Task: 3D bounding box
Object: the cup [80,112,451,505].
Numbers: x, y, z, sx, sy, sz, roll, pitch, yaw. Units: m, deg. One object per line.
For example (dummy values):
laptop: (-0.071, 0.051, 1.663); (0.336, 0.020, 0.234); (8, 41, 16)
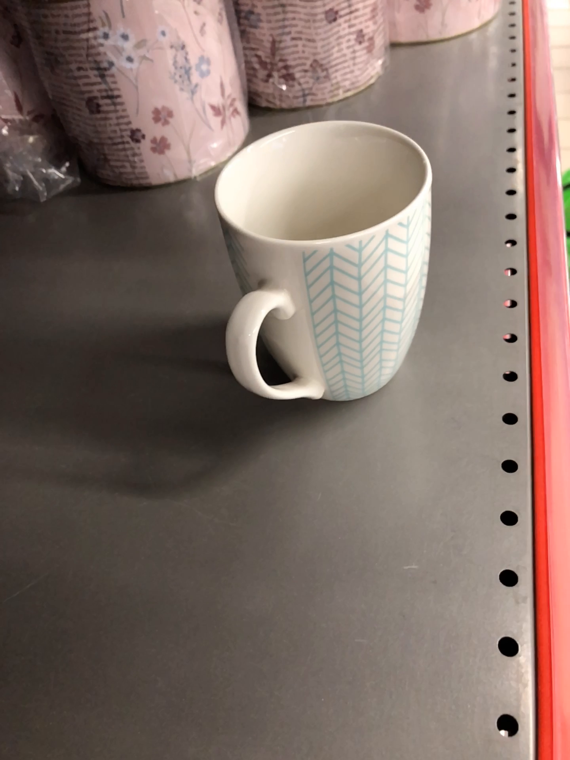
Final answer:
cup: (0.002, -0.036, 0.277); (0.093, 0.096, 0.120); (22, 56, 25)
